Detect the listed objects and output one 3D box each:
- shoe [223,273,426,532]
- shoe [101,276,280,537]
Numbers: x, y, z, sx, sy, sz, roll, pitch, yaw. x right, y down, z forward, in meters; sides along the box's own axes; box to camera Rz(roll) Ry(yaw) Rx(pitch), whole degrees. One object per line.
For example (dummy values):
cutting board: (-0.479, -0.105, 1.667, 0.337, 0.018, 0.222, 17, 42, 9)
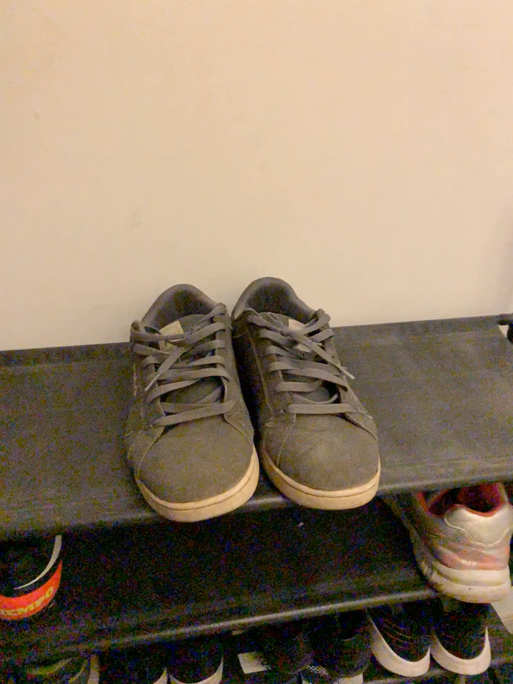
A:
shoe: (0.043, 0.032, 0.528, 0.120, 0.079, 0.303, -6, 31, -7)
shoe: (-0.063, 0.034, 0.491, 0.120, 0.079, 0.272, -6, 31, -7)
